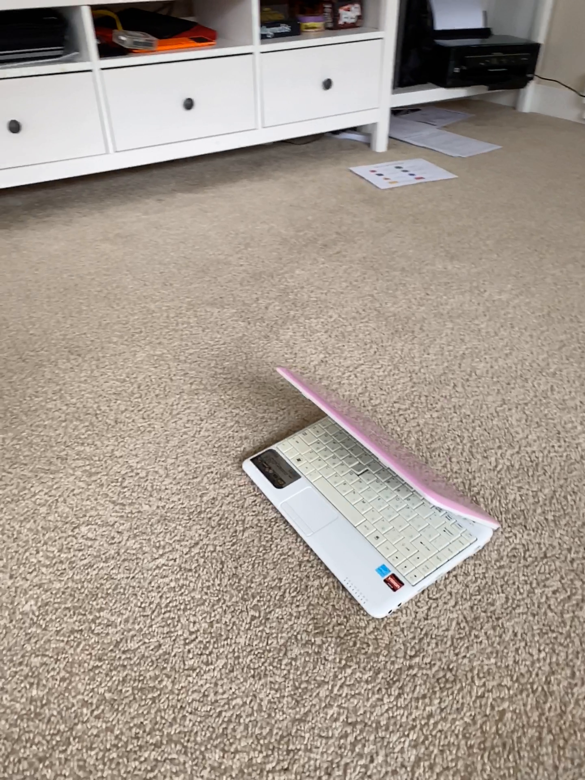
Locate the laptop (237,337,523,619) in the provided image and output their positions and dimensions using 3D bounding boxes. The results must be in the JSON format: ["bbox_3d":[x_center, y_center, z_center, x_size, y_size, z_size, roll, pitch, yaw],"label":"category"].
[{"bbox_3d":[0.090,0.086,0.739,0.193,0.125,0.291,-25,43,-25],"label":"laptop"}]
